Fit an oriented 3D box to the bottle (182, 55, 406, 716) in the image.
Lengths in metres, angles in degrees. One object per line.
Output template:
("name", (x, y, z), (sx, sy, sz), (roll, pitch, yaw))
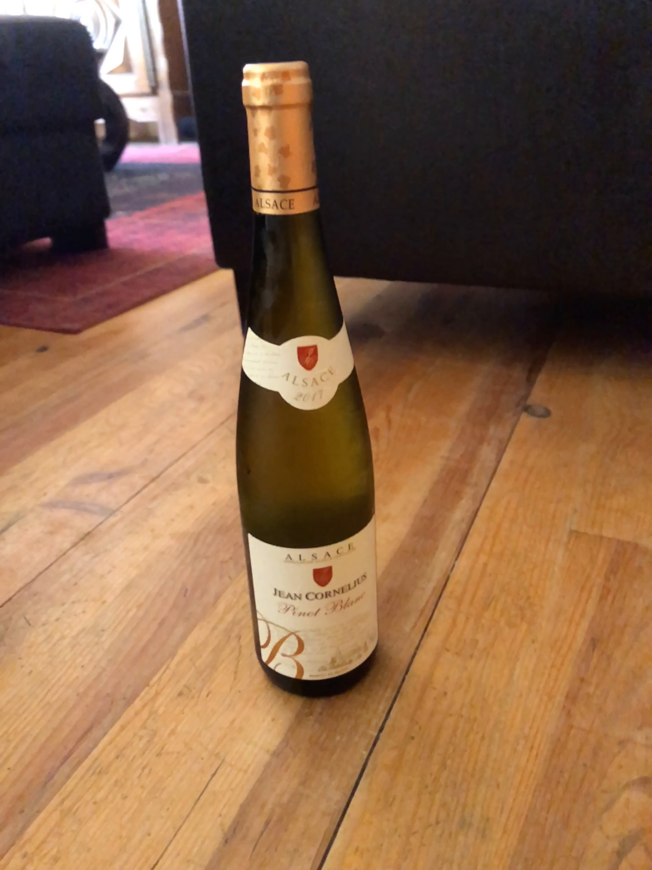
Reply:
("bottle", (-0.010, -0.010, 0.365), (0.080, 0.318, 0.080), (-2, 27, 1))
